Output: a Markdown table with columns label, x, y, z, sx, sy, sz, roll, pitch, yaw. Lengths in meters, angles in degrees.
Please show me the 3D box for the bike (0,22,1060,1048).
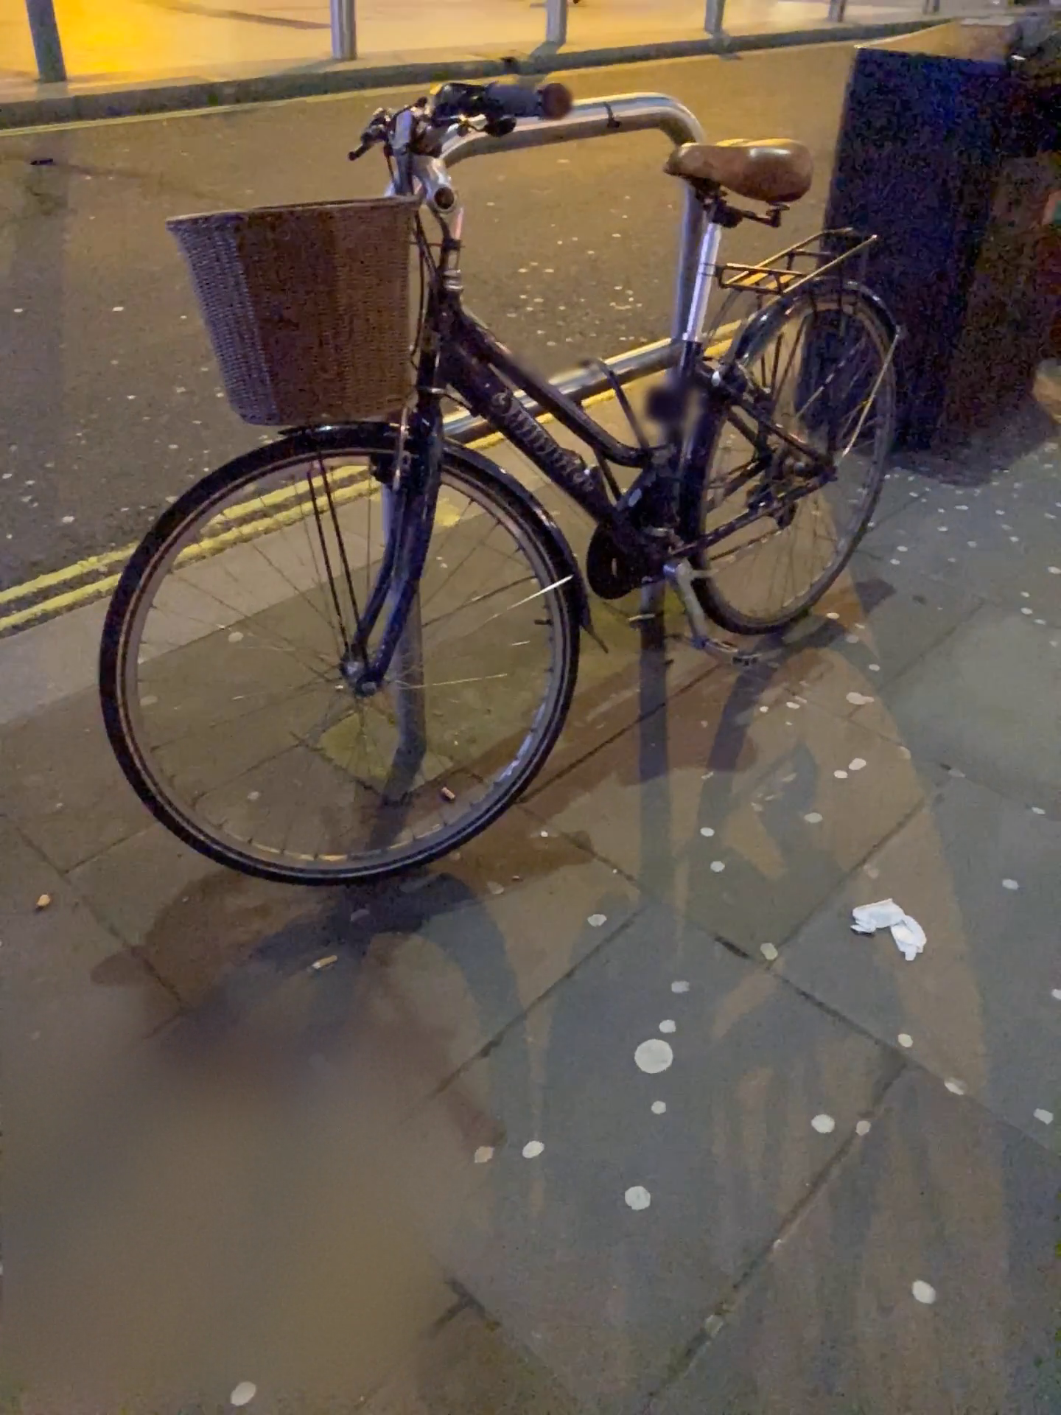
| label | x | y | z | sx | sy | sz | roll | pitch | yaw |
| --- | --- | --- | --- | --- | --- | --- | --- | --- | --- |
| bike | 0.097 | -0.445 | 1.826 | 1.715 | 1.063 | 0.661 | -27 | 45 | -31 |
